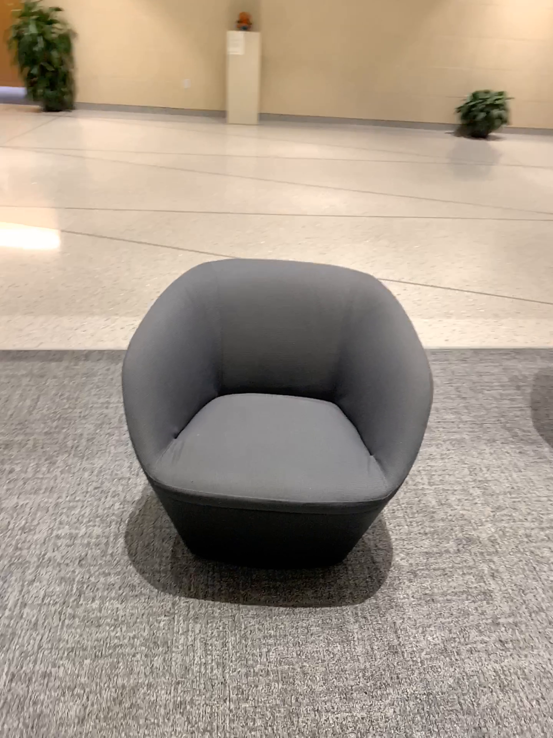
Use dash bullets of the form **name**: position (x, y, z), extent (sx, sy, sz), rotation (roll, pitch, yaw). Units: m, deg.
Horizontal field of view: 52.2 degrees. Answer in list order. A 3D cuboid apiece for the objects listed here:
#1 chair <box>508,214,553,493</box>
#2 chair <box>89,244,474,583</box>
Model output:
- **chair**: position (1.363, -0.092, 2.000), extent (0.768, 0.668, 0.636), rotation (8, 31, 7)
- **chair**: position (-0.002, 0.096, 1.579), extent (0.778, 0.658, 0.637), rotation (3, 31, -1)
